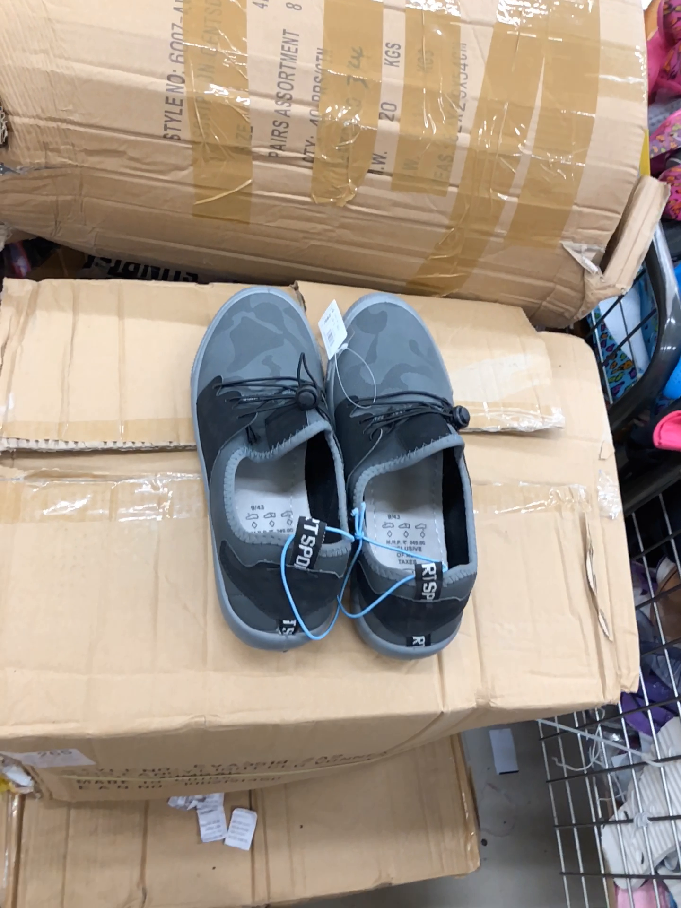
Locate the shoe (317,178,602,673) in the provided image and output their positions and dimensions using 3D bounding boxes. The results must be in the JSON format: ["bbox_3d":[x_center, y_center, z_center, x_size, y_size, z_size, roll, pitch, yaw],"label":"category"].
[{"bbox_3d":[0.059,-0.021,0.507,0.110,0.129,0.301,3,61,-13],"label":"shoe"}]

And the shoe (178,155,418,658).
[{"bbox_3d":[-0.048,-0.034,0.516,0.110,0.149,0.301,-1,62,-15],"label":"shoe"}]
